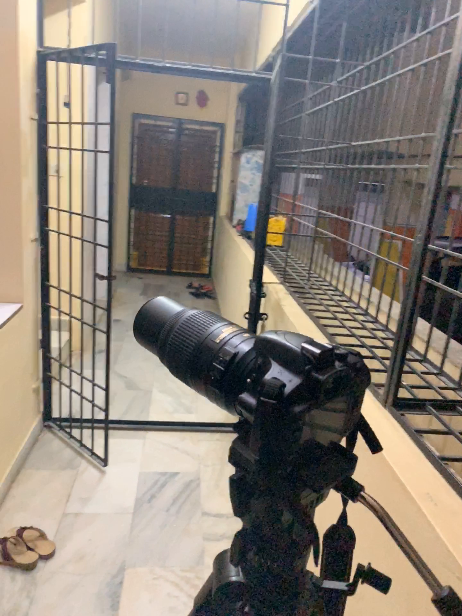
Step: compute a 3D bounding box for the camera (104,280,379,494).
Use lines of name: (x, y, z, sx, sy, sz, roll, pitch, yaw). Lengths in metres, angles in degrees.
camera: (-0.005, 0.049, 0.436, 0.120, 0.090, 0.230, -10, 22, -43)
